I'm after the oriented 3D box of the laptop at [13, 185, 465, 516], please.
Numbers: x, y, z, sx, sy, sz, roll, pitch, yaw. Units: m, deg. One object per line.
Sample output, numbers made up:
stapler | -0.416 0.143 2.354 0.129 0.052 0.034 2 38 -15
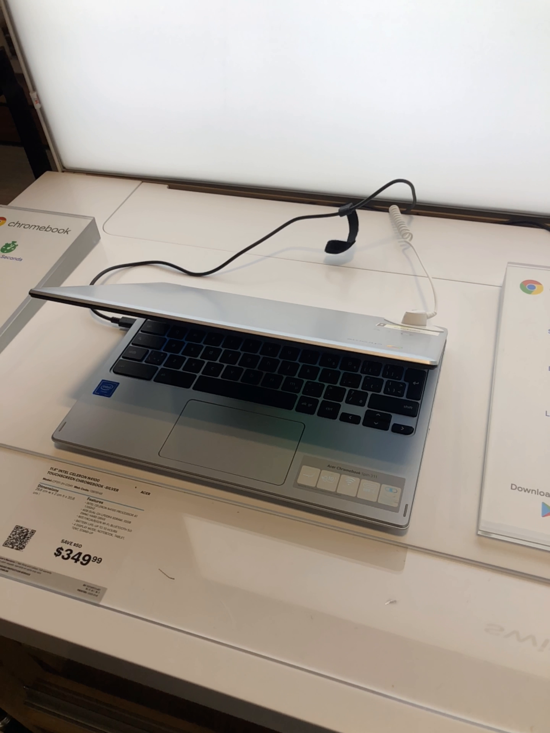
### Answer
laptop | -0.012 -0.028 0.484 0.280 0.123 0.192 11 47 15
